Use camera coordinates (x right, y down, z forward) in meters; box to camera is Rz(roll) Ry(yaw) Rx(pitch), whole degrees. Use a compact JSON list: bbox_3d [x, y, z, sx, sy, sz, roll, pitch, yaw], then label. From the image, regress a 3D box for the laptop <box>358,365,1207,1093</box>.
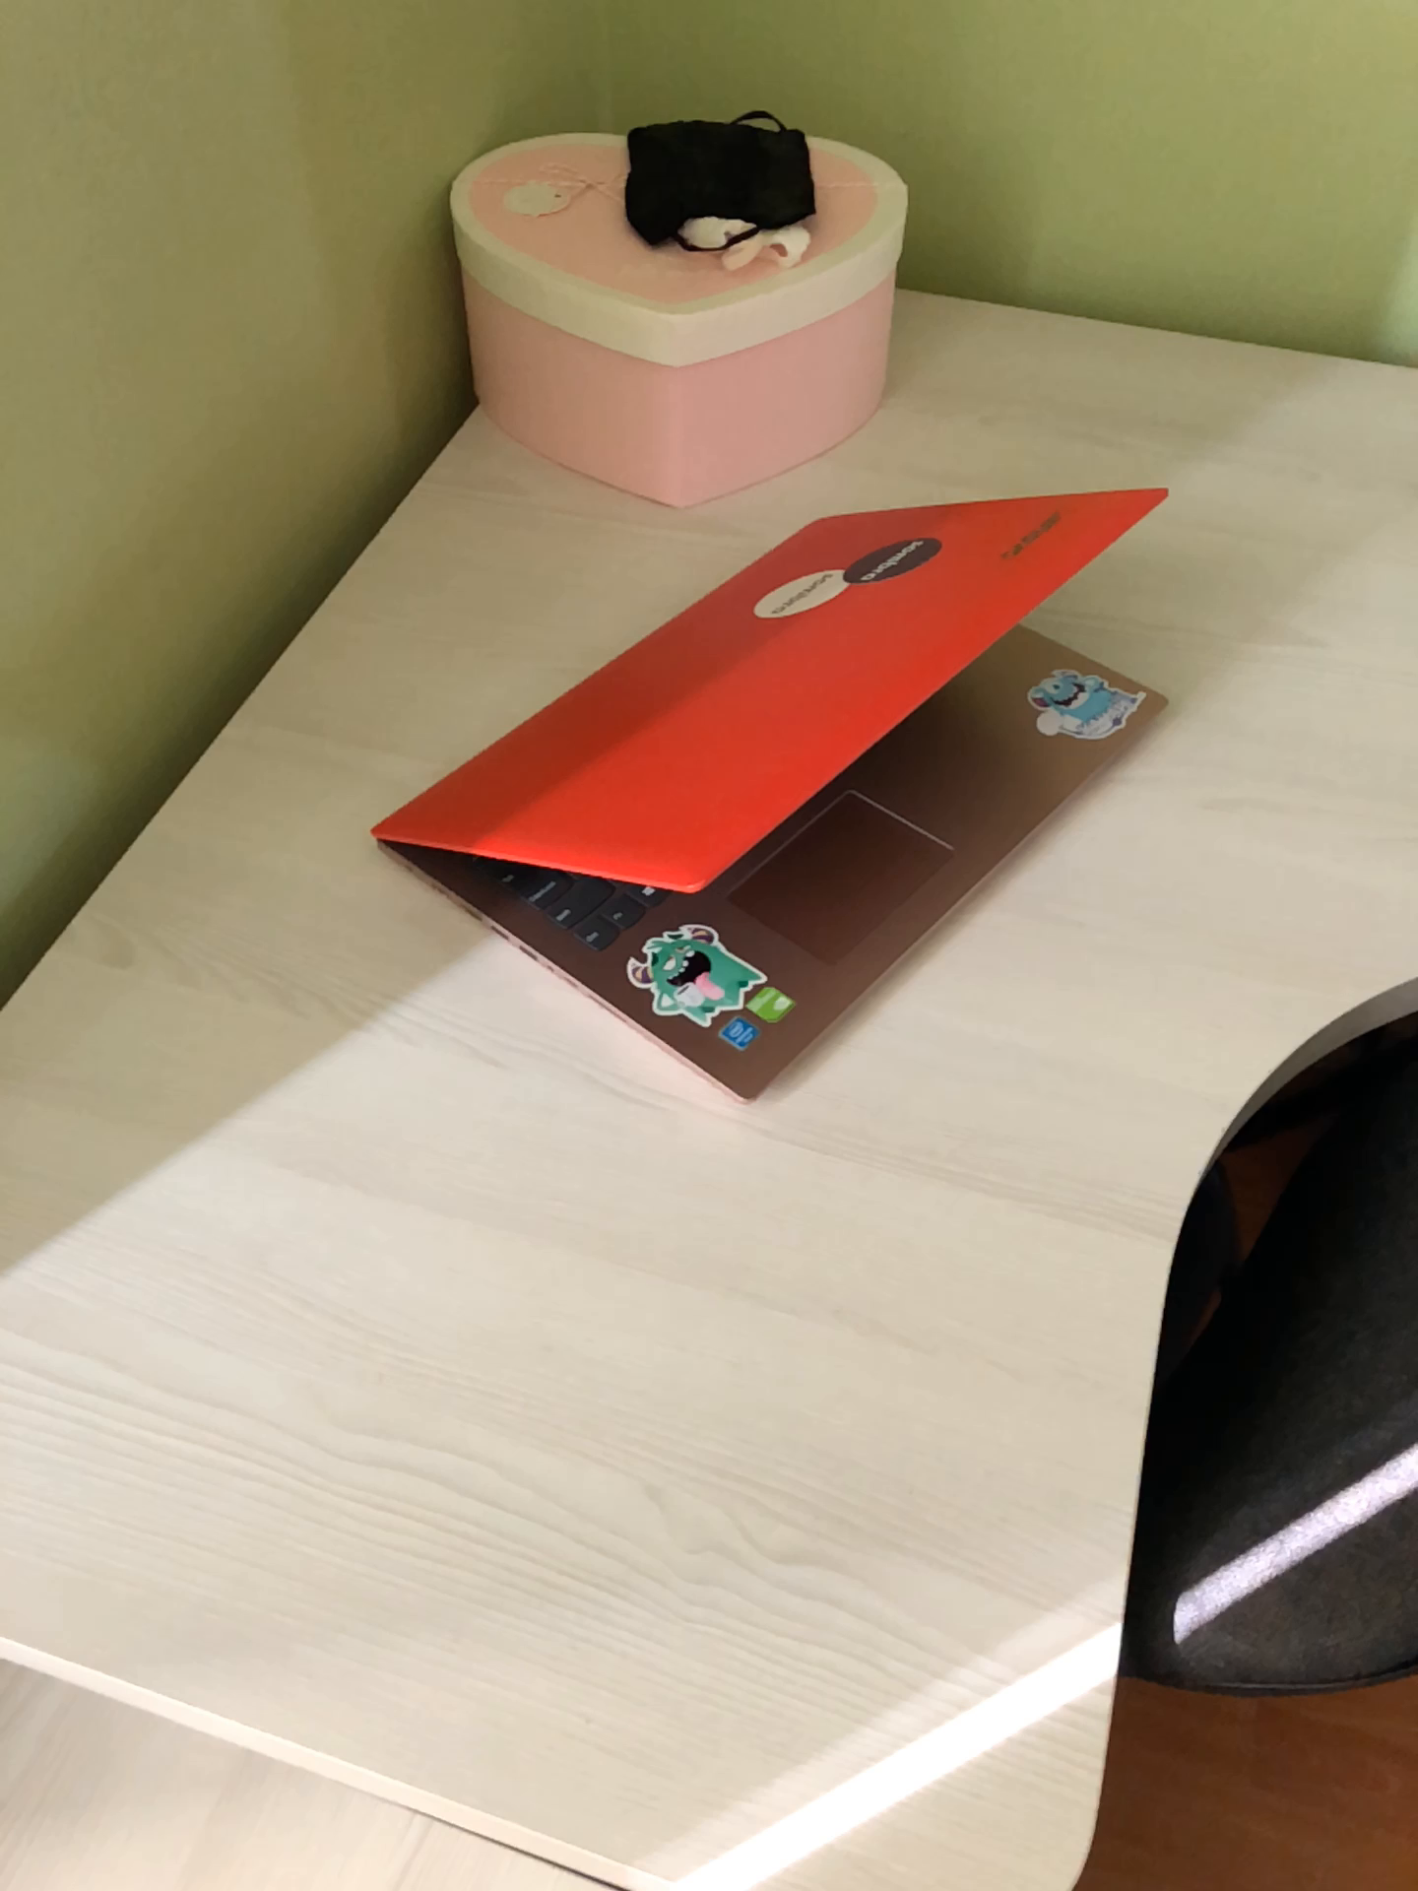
[{"bbox_3d":[0.047,-0.134,0.801,0.232,0.112,0.367,34,56,24],"label":"laptop"}]
